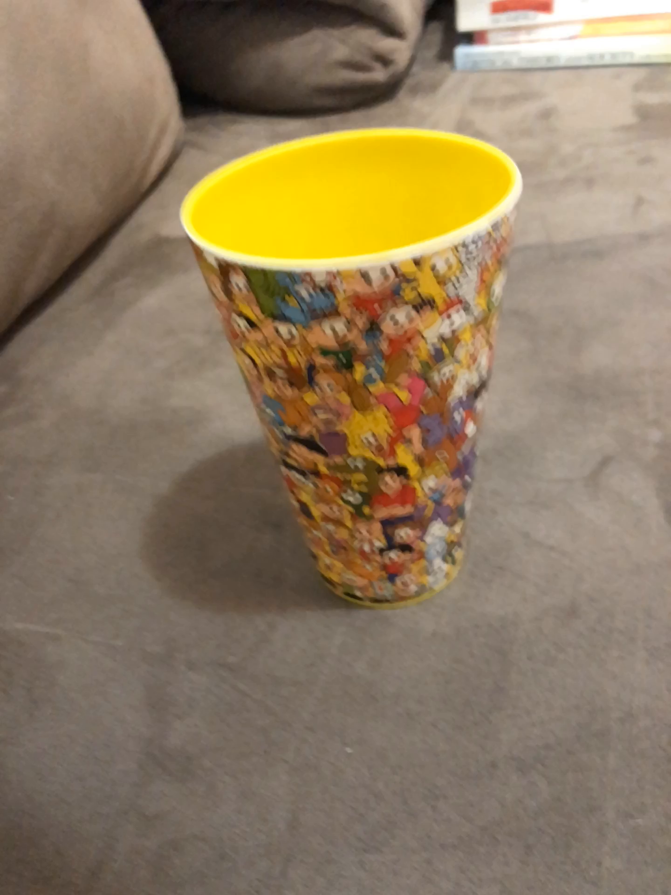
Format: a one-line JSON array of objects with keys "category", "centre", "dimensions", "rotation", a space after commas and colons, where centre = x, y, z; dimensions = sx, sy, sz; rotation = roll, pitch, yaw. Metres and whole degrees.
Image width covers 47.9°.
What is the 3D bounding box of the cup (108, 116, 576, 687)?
[{"category": "cup", "centre": [0.010, -0.017, 0.248], "dimensions": [0.090, 0.139, 0.090], "rotation": [-6, 40, 5]}]
